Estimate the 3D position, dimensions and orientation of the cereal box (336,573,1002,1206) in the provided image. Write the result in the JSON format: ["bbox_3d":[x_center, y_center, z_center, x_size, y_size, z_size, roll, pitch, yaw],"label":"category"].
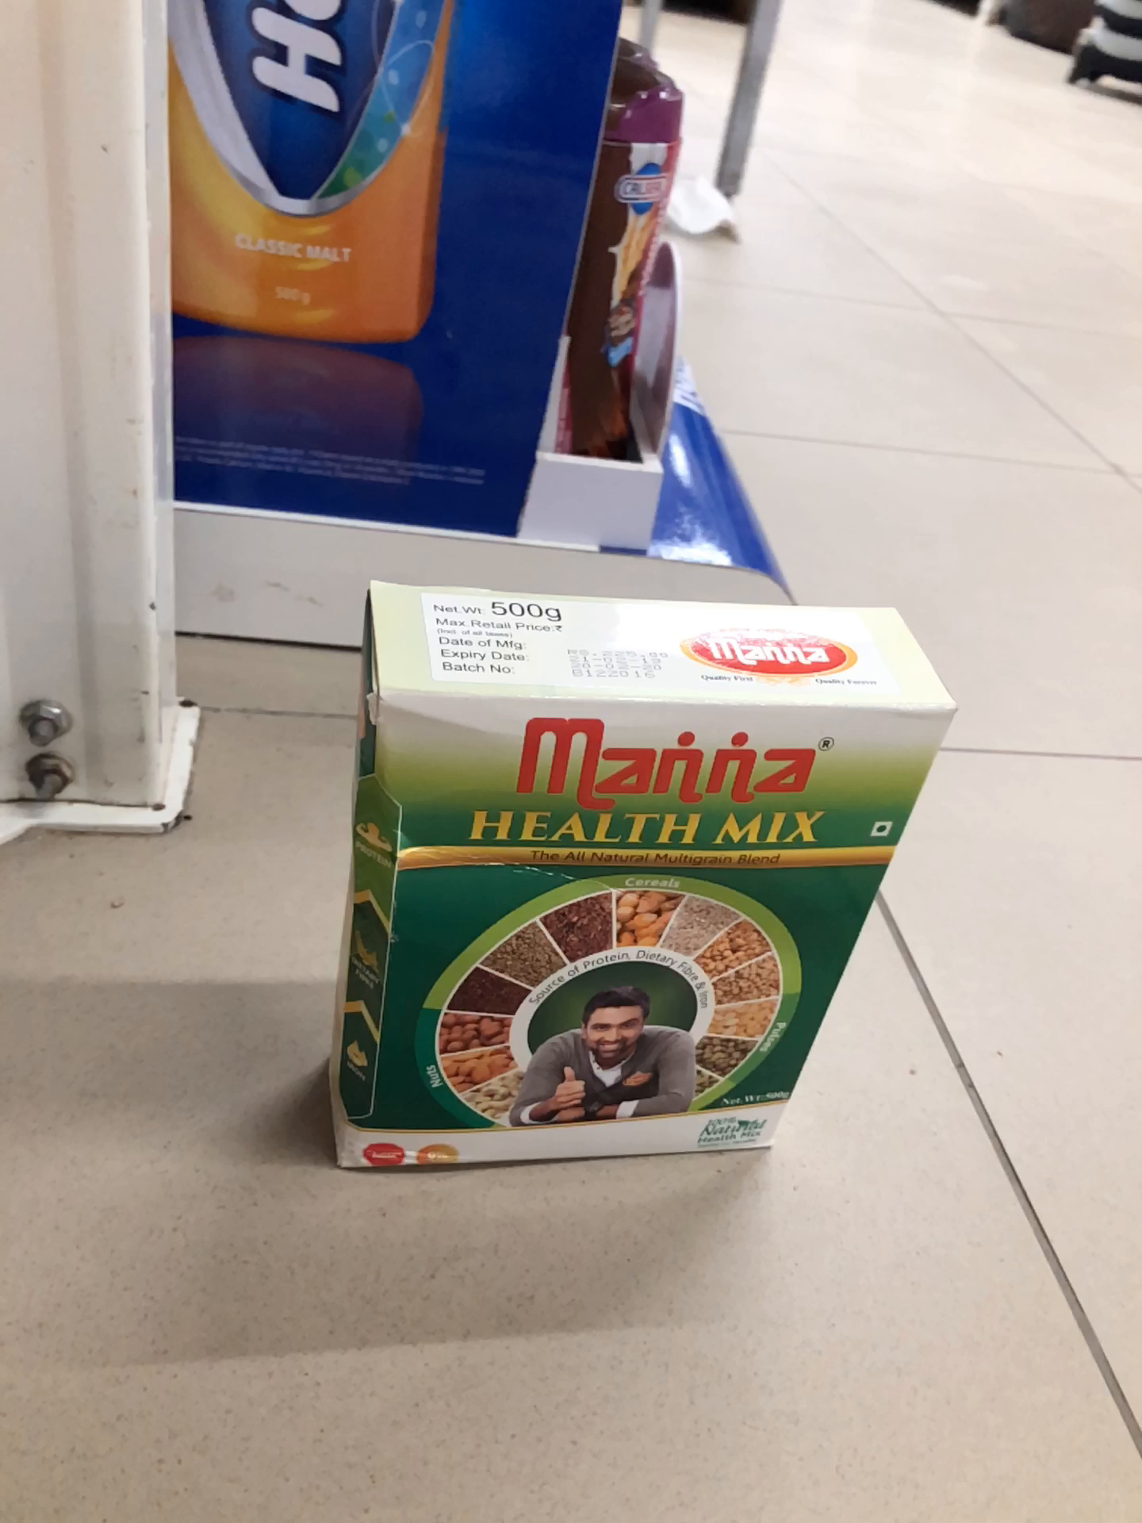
[{"bbox_3d":[0.014,0.045,0.368,0.150,0.189,0.050,1,37,-15],"label":"cereal box"}]
